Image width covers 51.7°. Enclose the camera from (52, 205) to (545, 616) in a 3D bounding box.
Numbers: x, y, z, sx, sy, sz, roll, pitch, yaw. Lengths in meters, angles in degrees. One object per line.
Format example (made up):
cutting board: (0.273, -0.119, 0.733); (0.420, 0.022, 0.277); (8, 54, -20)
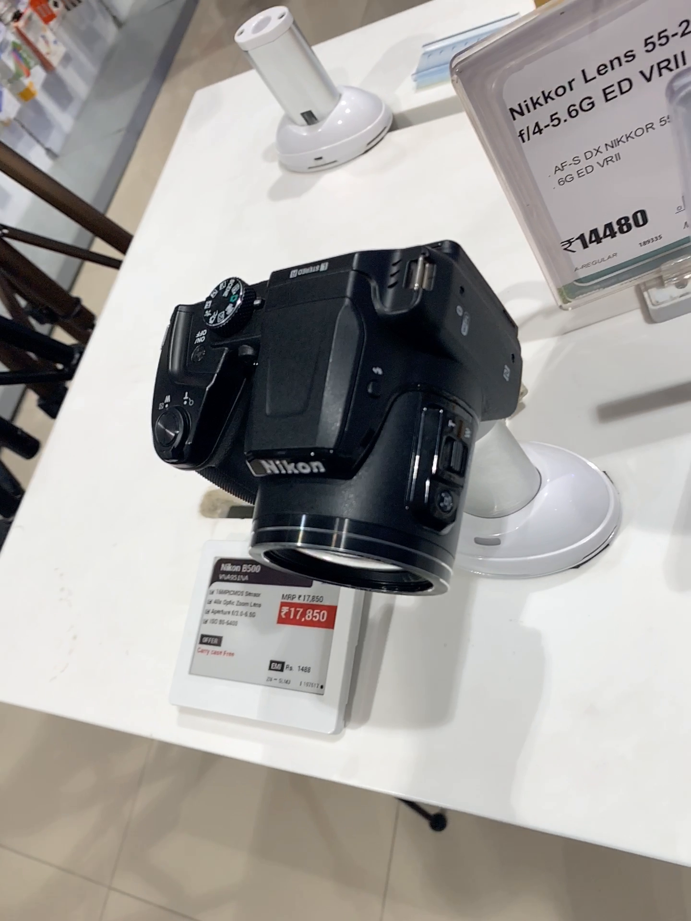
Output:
camera: (-0.010, -0.007, 0.210); (0.113, 0.070, 0.083); (-2, 68, 31)
